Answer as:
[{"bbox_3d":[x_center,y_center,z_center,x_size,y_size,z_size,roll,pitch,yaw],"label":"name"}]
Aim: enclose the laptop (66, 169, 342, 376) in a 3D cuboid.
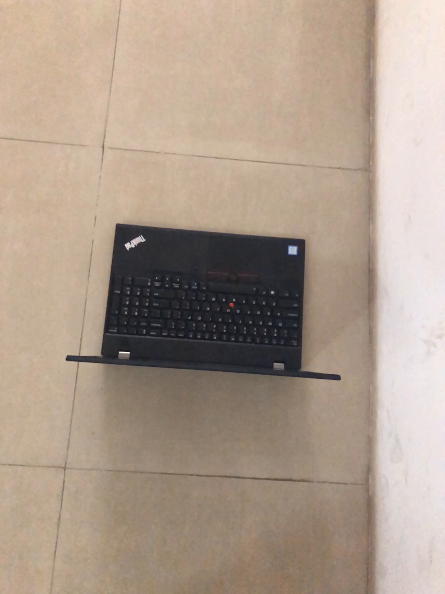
[{"bbox_3d":[-0.023,-0.017,0.785,0.353,0.241,0.255,5,80,-4],"label":"laptop"}]
